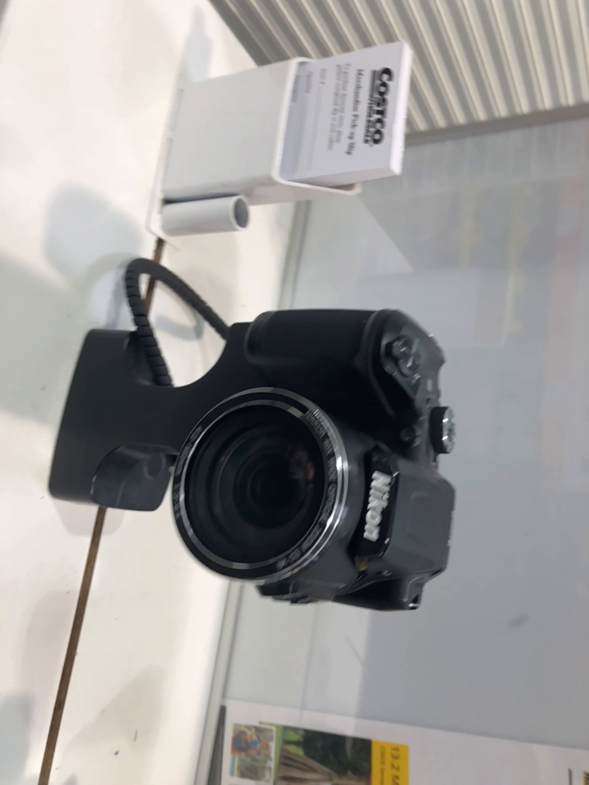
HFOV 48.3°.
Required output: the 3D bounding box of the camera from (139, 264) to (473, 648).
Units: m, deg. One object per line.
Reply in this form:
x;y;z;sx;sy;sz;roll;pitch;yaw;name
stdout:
0.014;0.026;0.258;0.101;0.079;0.116;28;67;-59;camera
